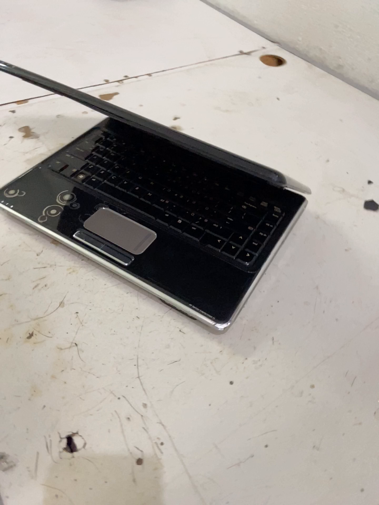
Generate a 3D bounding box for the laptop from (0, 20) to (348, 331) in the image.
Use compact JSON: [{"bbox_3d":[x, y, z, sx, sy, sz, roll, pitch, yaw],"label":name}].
[{"bbox_3d":[-0.039,-0.114,0.443,0.328,0.137,0.232,27,53,18],"label":"laptop"}]
